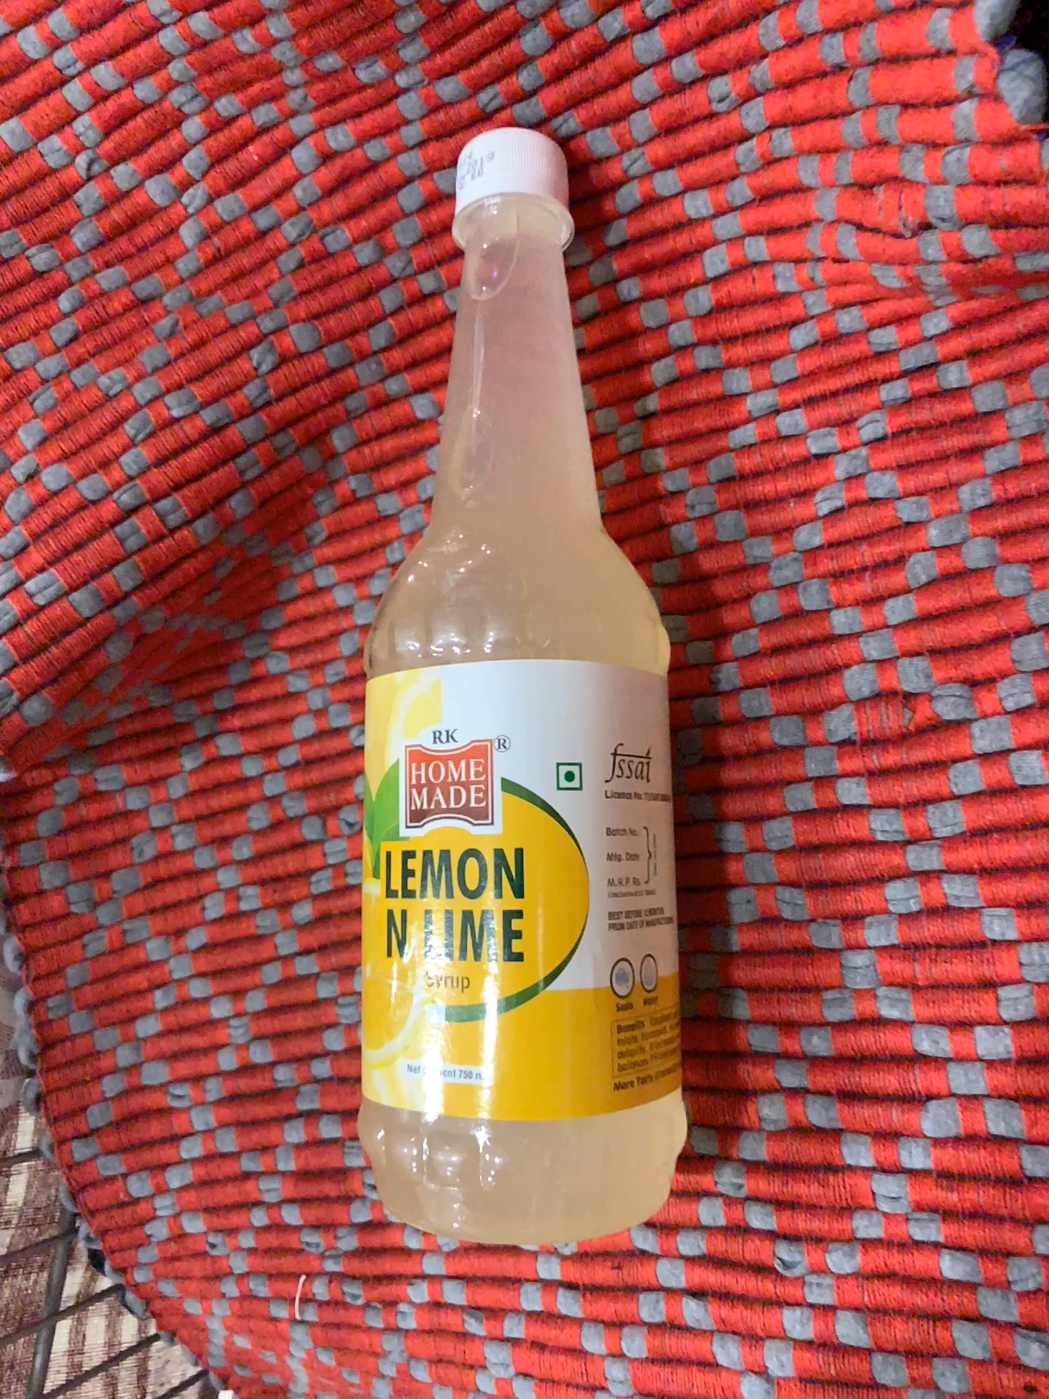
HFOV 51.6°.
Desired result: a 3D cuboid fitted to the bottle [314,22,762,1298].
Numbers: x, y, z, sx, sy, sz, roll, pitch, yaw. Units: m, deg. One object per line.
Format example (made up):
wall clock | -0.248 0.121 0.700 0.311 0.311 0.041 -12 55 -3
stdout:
bottle | 0.008 -0.014 0.263 0.070 0.070 0.260 -7 75 35
